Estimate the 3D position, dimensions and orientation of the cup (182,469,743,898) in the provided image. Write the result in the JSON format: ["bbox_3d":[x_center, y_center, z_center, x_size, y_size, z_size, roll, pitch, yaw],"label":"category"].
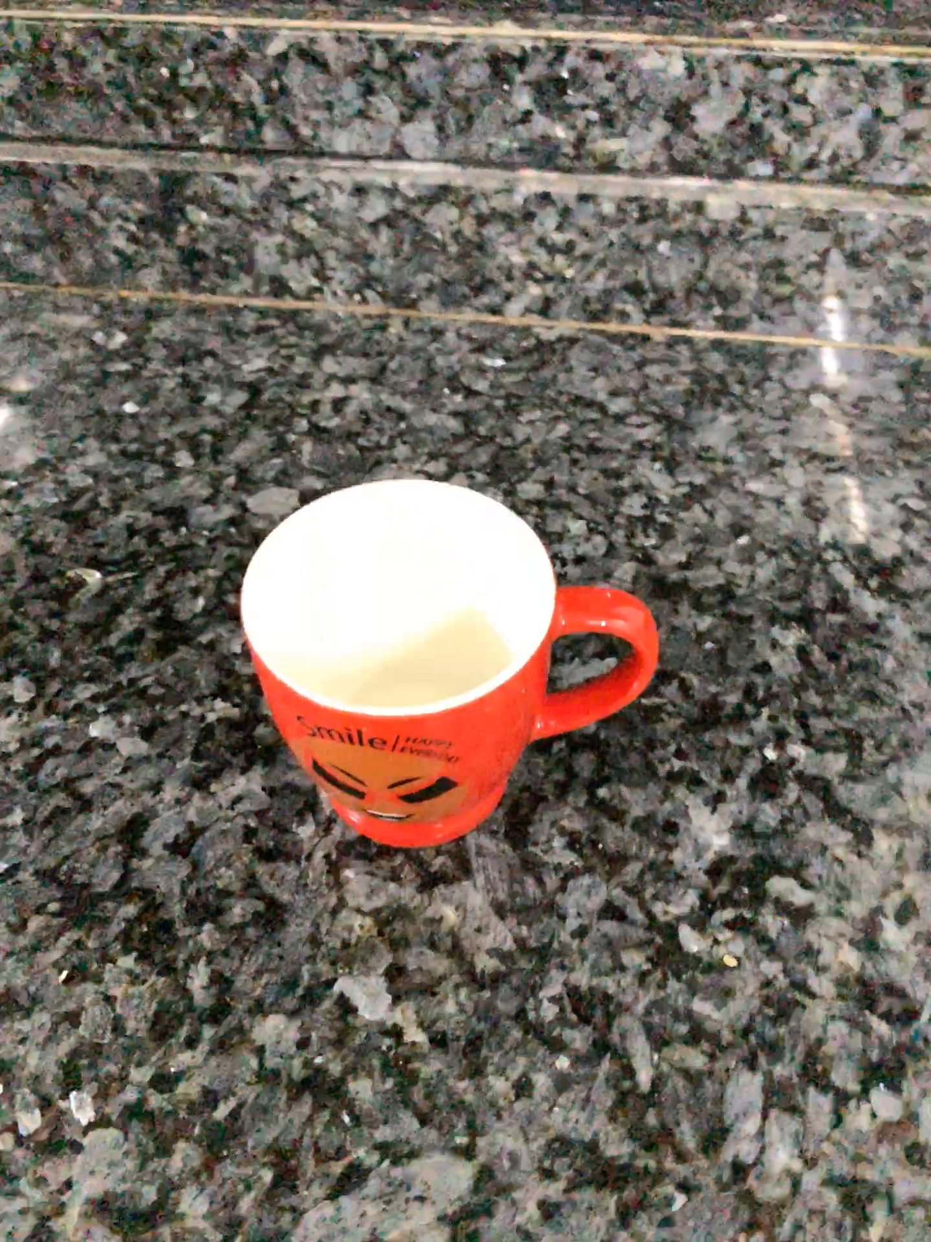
[{"bbox_3d":[0.002,0.016,0.238,0.110,0.069,0.071,4,50,3],"label":"cup"}]
